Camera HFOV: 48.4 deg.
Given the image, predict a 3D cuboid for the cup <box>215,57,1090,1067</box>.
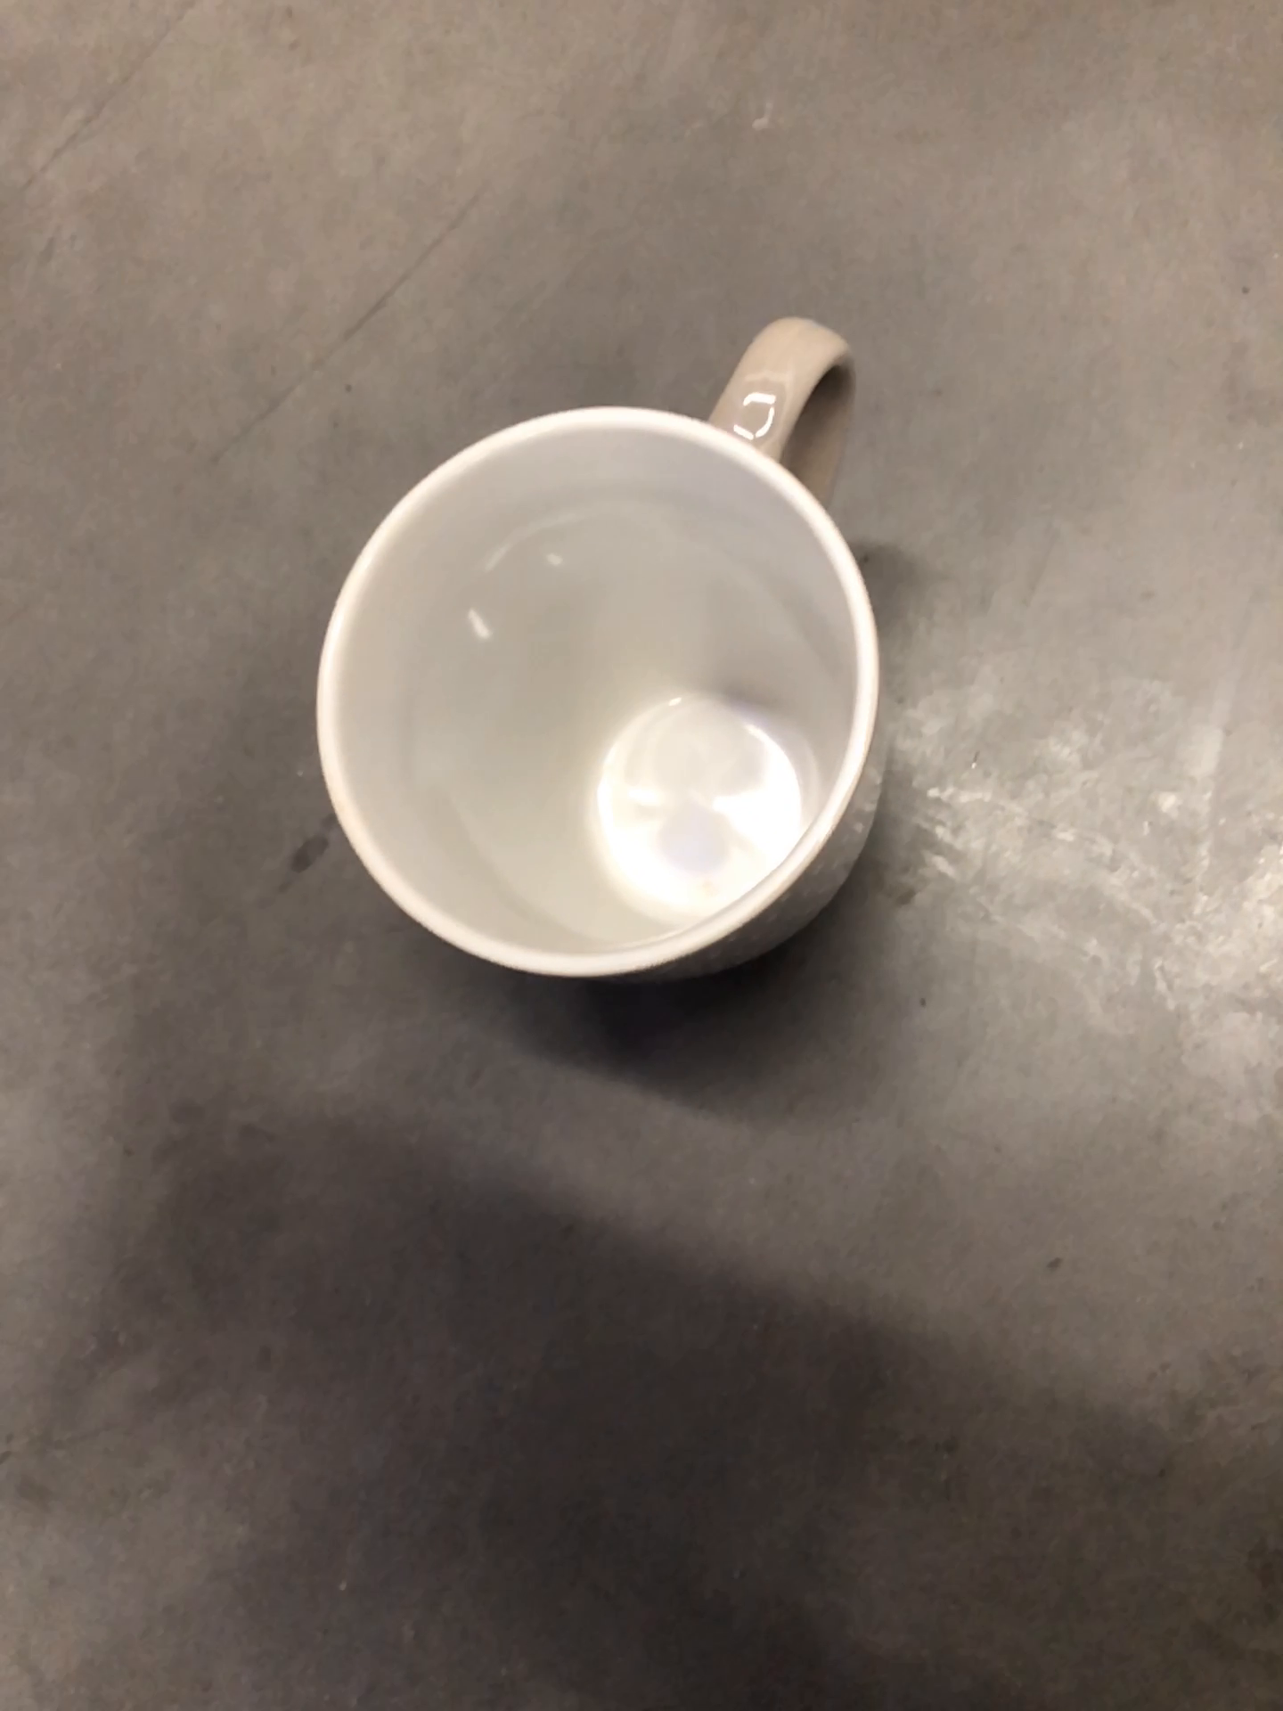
[{"bbox_3d":[0.012,-0.043,0.273,0.091,0.107,0.141,22,87,16],"label":"cup"}]
